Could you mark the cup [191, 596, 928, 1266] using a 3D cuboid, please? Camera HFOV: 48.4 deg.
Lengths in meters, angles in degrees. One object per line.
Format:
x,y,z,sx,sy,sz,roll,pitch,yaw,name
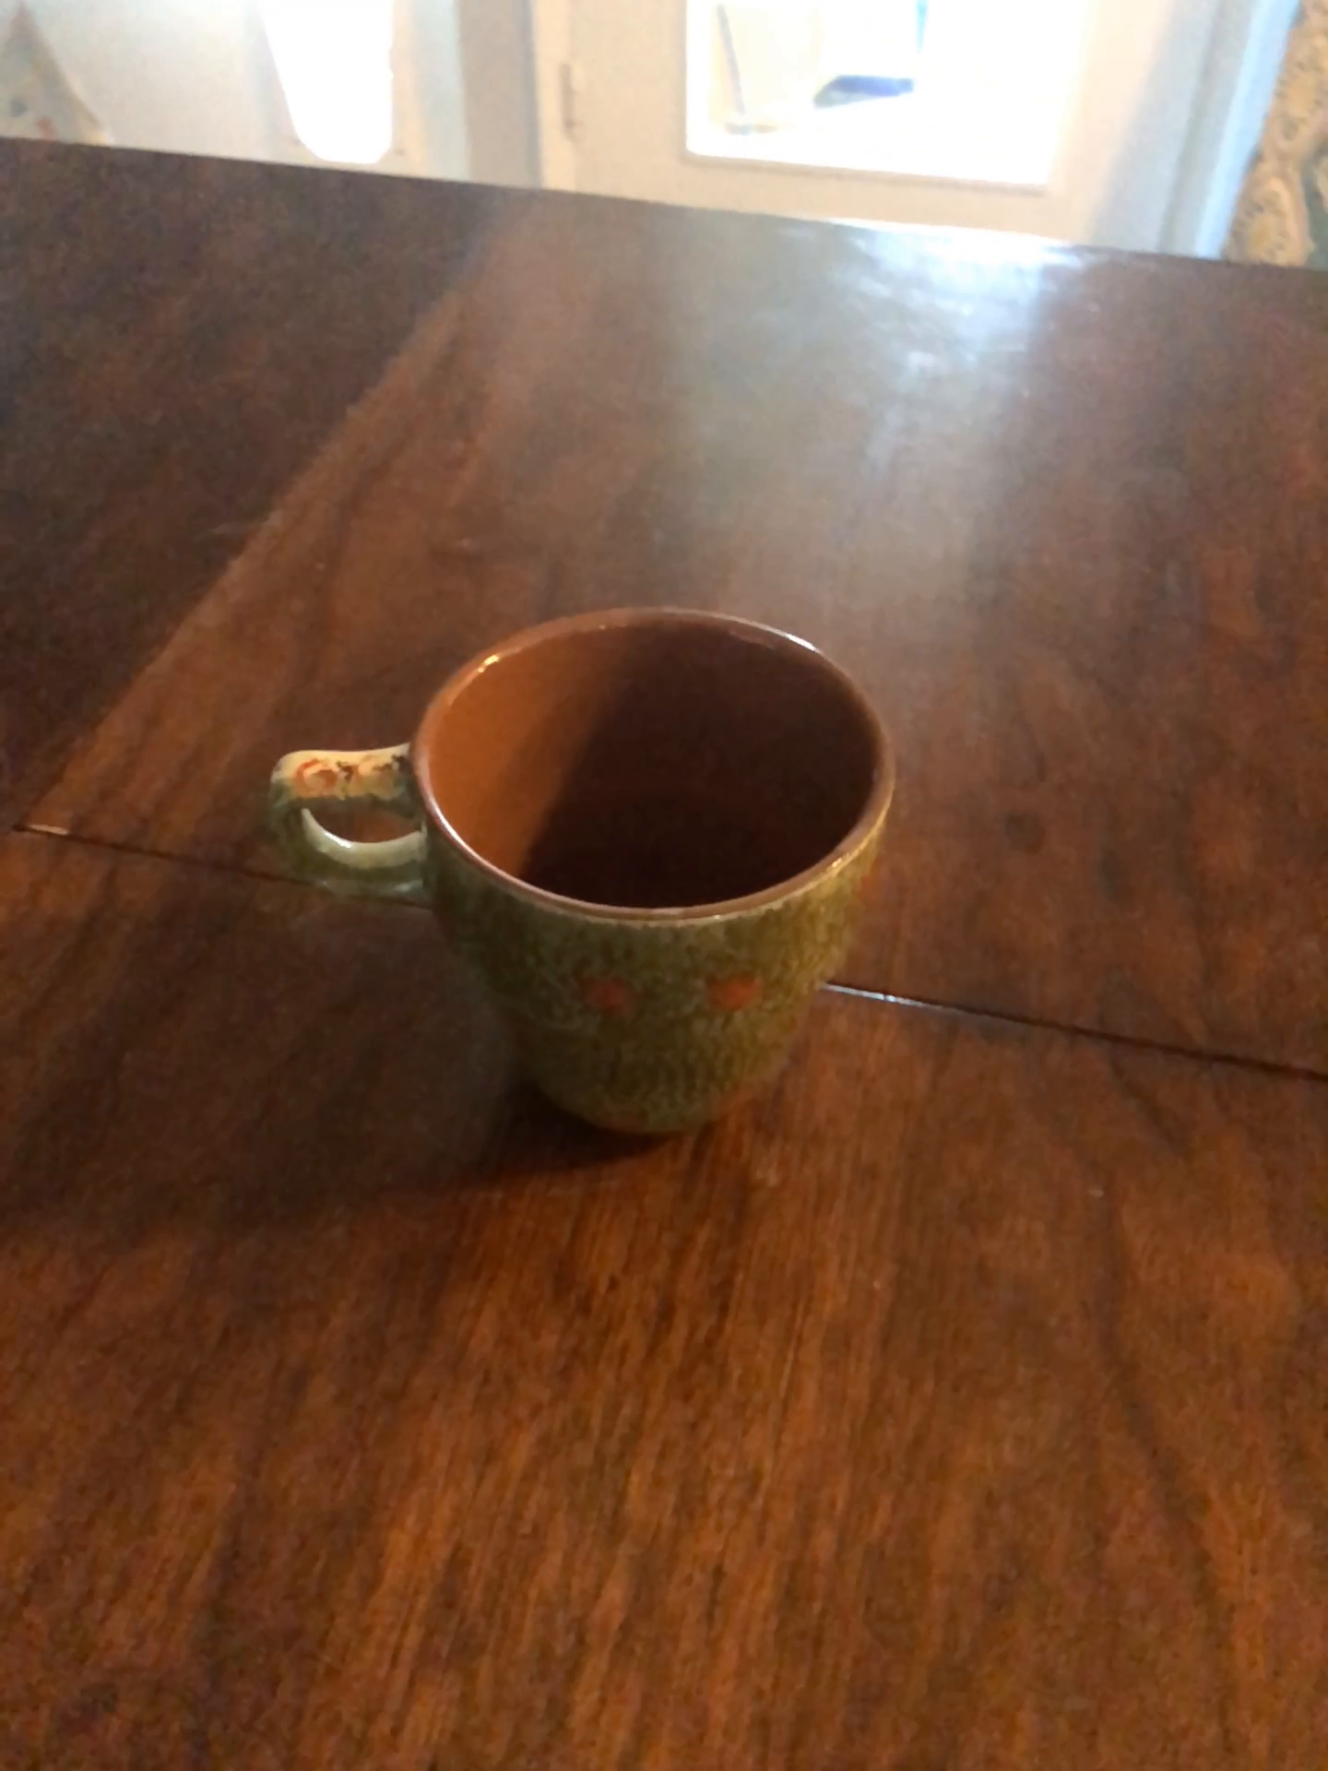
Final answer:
-0.018,0.011,0.334,0.130,0.110,0.100,1,45,1,cup
